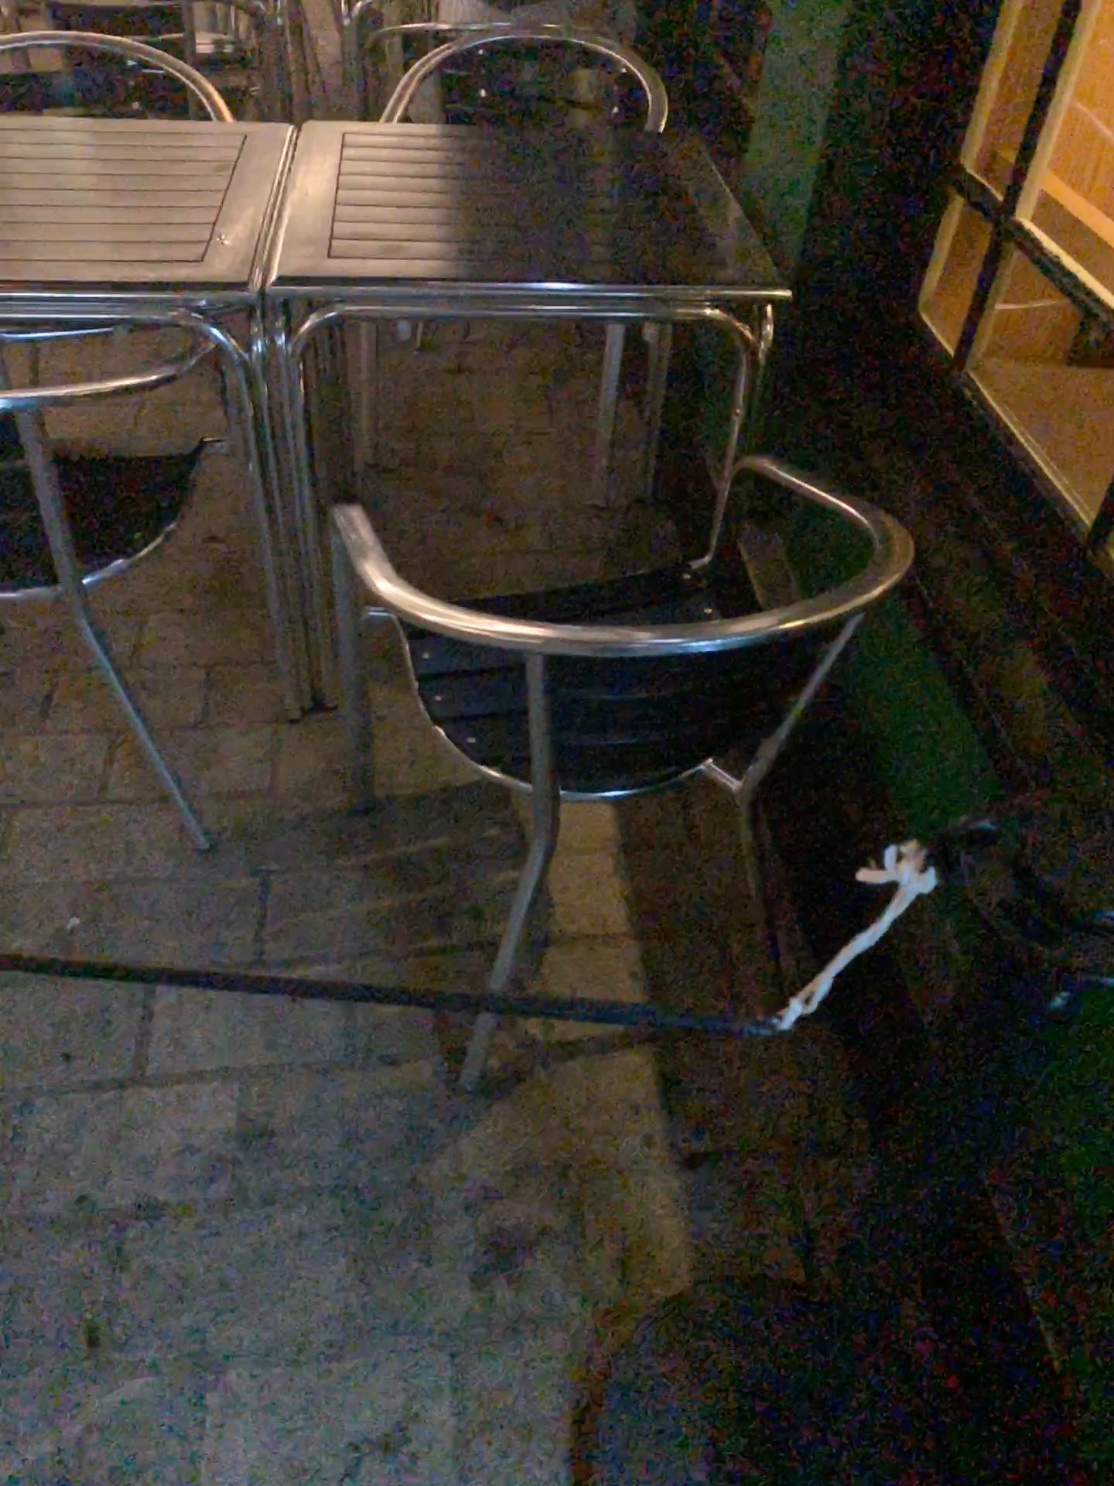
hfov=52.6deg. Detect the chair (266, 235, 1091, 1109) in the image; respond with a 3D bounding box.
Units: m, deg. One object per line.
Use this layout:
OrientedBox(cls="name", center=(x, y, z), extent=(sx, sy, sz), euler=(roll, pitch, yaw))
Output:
OrientedBox(cls="chair", center=(0.054, -0.108, 1.438), extent=(0.661, 0.782, 0.656), euler=(-10, 45, -15))
